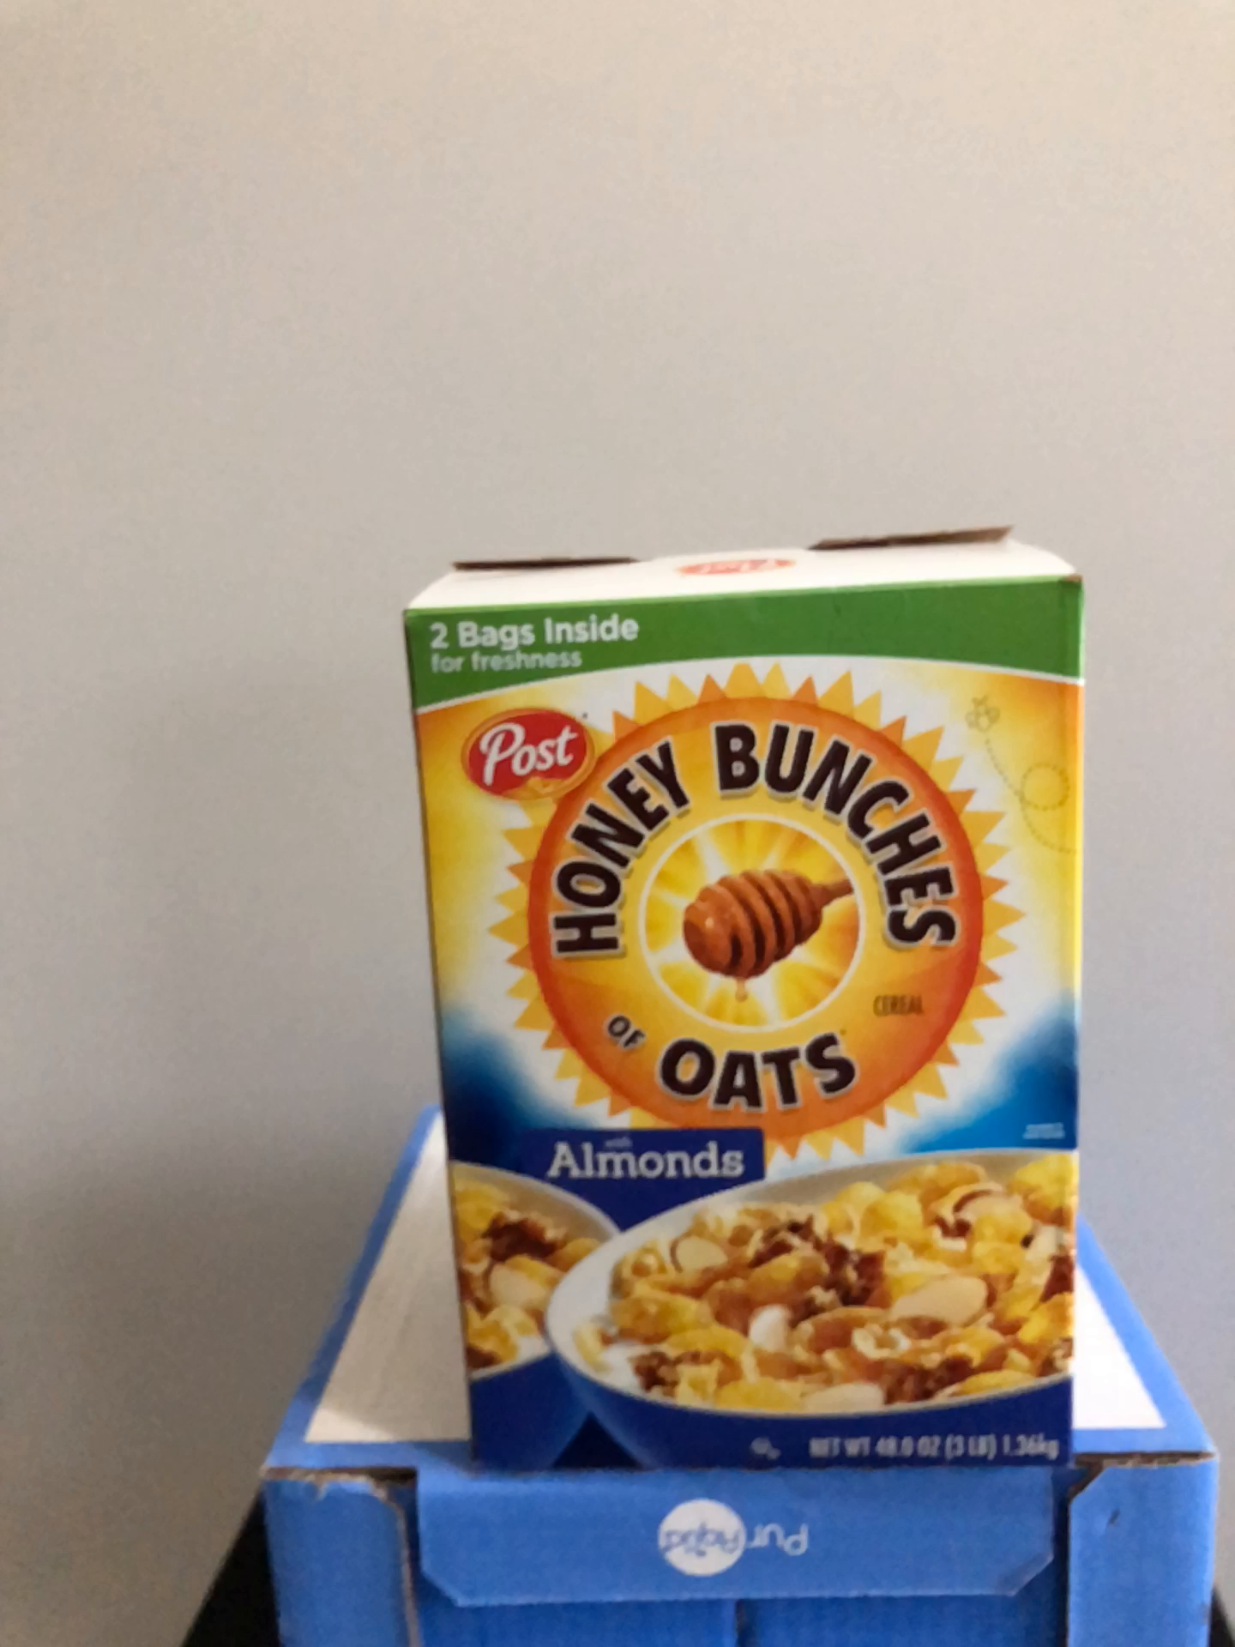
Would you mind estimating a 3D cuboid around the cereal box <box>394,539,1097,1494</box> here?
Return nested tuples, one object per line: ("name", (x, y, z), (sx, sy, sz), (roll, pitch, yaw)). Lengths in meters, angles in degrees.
("cereal box", (0.048, 0.057, 0.496), (0.200, 0.299, 0.150), (-3, 11, 4))
